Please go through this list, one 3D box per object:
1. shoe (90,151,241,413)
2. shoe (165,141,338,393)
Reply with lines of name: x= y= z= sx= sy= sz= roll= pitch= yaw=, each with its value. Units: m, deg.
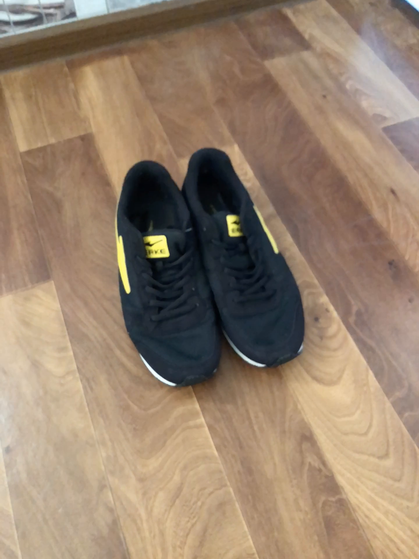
shoe: x=-0.061 y=-0.009 z=0.564 sx=0.110 sy=0.080 sz=0.301 roll=-13 pitch=61 yaw=-8
shoe: x=0.037 y=-0.028 z=0.582 sx=0.110 sy=0.080 sz=0.301 roll=-15 pitch=61 yaw=-8
